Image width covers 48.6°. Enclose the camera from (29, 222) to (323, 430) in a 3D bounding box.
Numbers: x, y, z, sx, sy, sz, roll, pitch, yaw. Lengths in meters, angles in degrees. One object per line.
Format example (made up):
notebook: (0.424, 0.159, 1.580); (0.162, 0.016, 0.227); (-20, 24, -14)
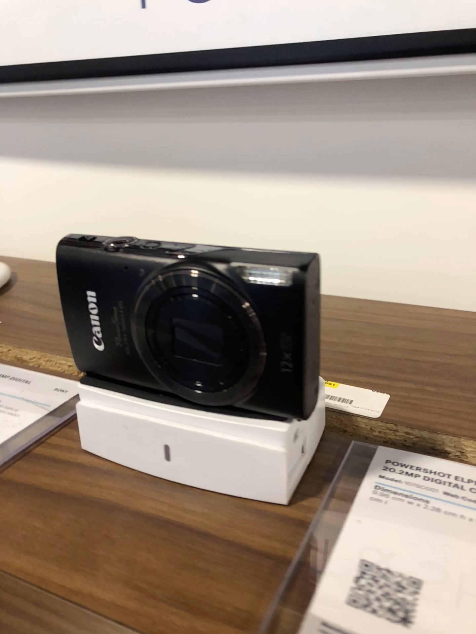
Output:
camera: (-0.023, -0.001, 0.192); (0.100, 0.056, 0.030); (8, 20, 23)
